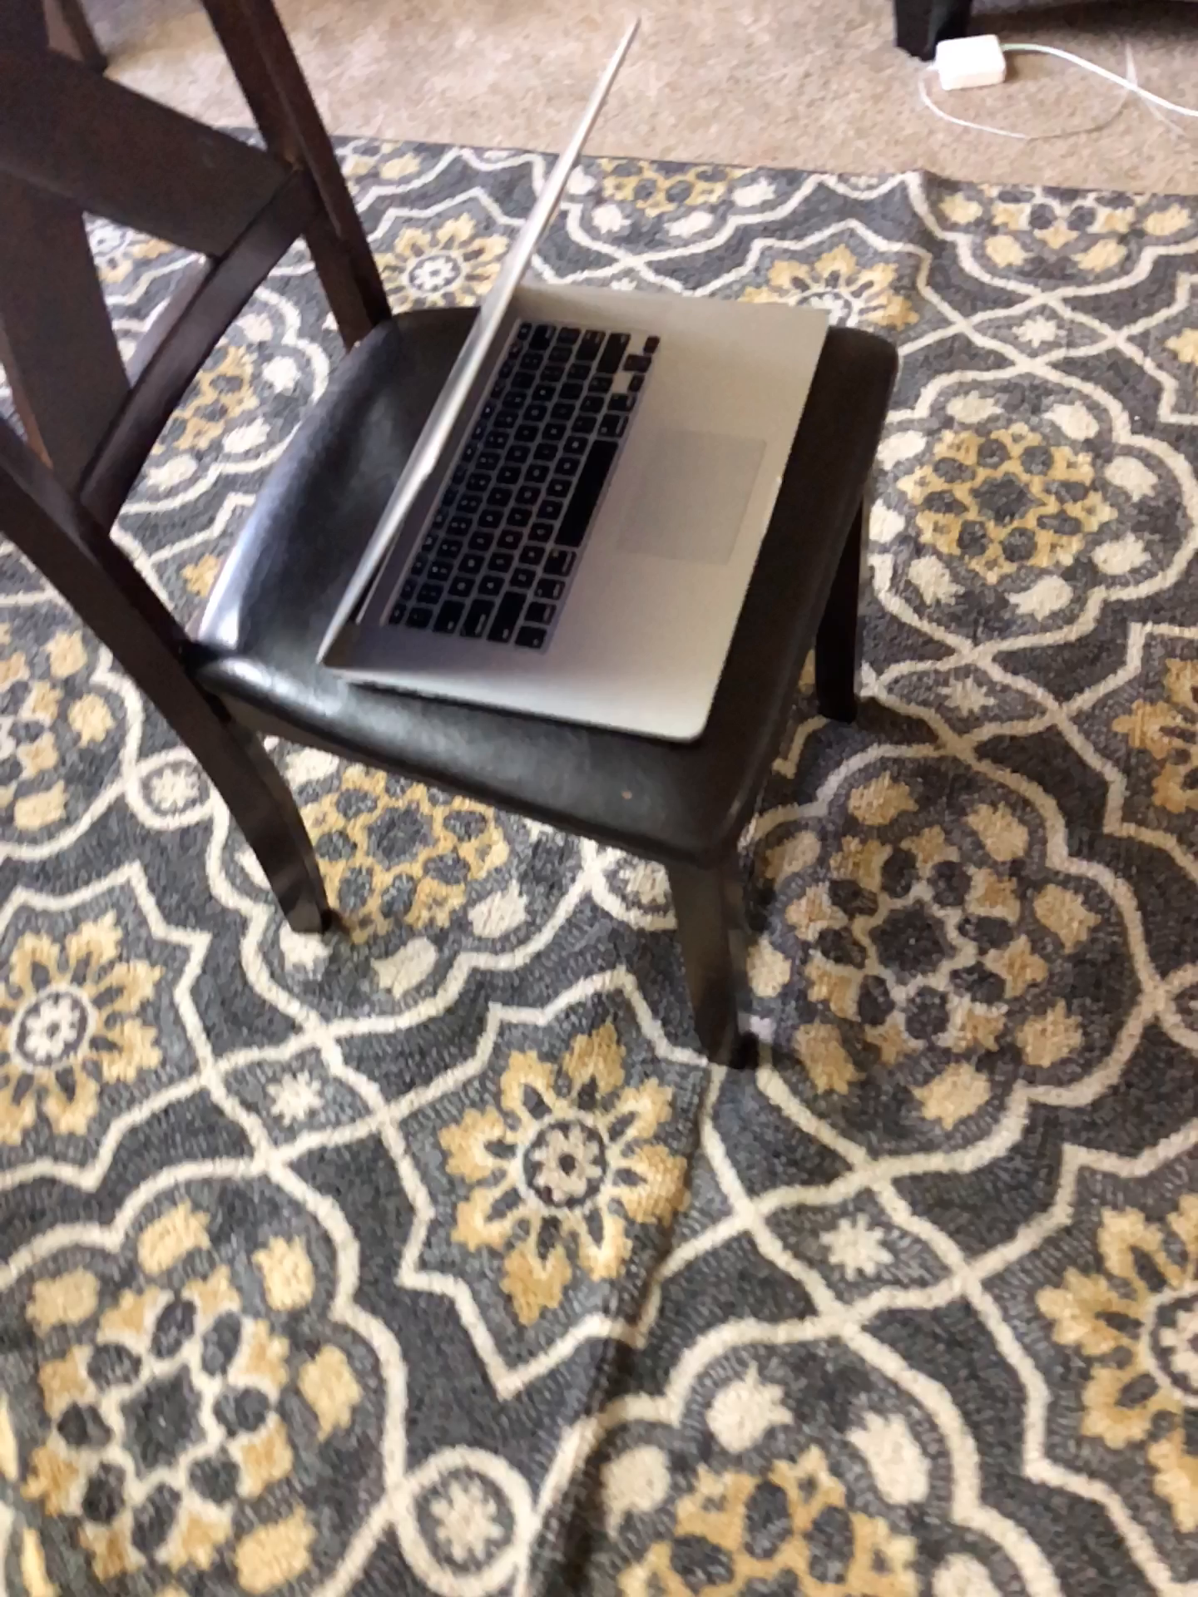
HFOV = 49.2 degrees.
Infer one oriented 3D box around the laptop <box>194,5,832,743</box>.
[{"bbox_3d":[-0.019,-0.253,0.758,0.237,0.200,0.351,11,62,15],"label":"laptop"}]
